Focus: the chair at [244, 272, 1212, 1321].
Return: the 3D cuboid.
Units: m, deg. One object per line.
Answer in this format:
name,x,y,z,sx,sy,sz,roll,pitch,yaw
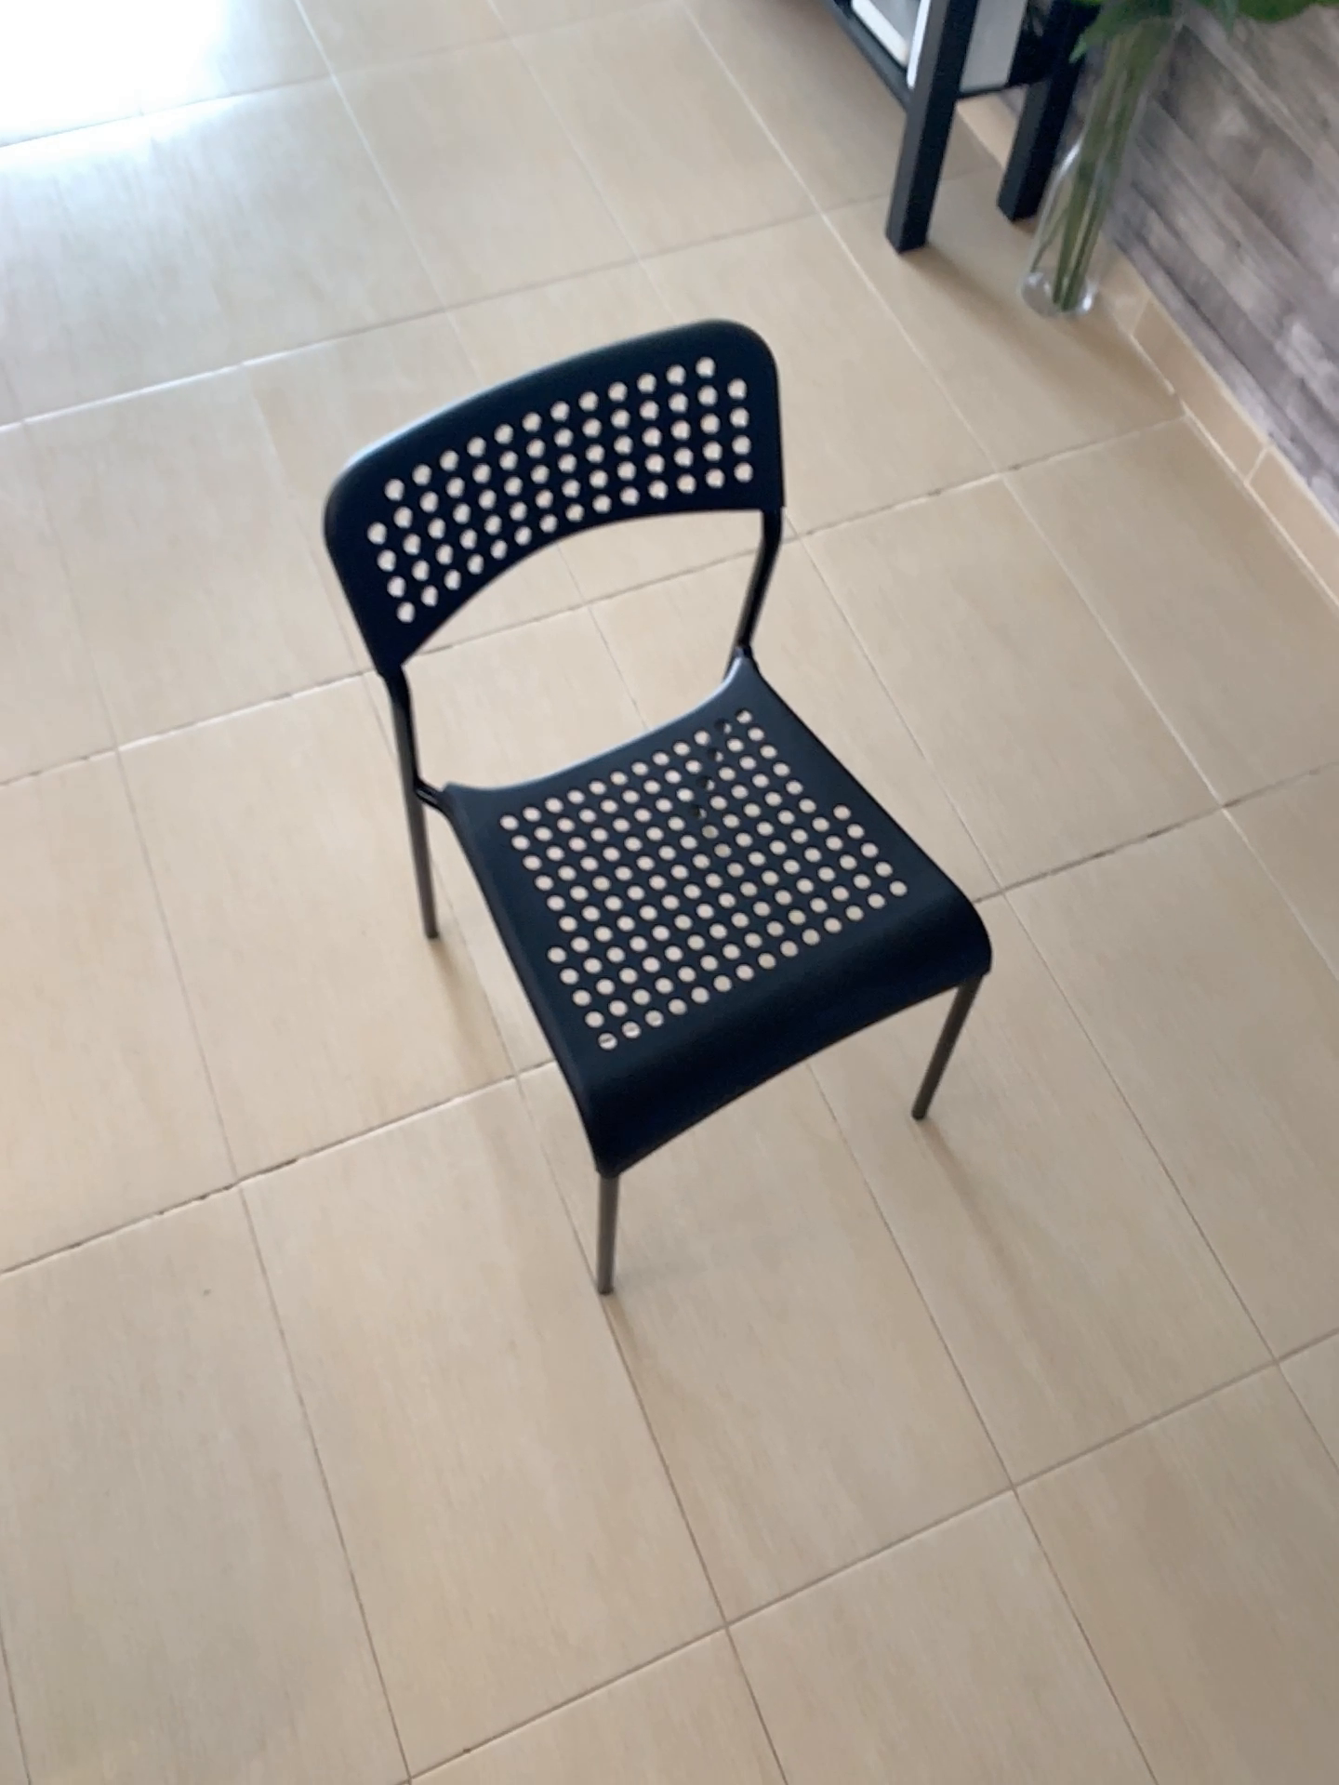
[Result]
chair,0.012,-0.020,1.174,0.420,0.688,0.491,-26,67,-14
